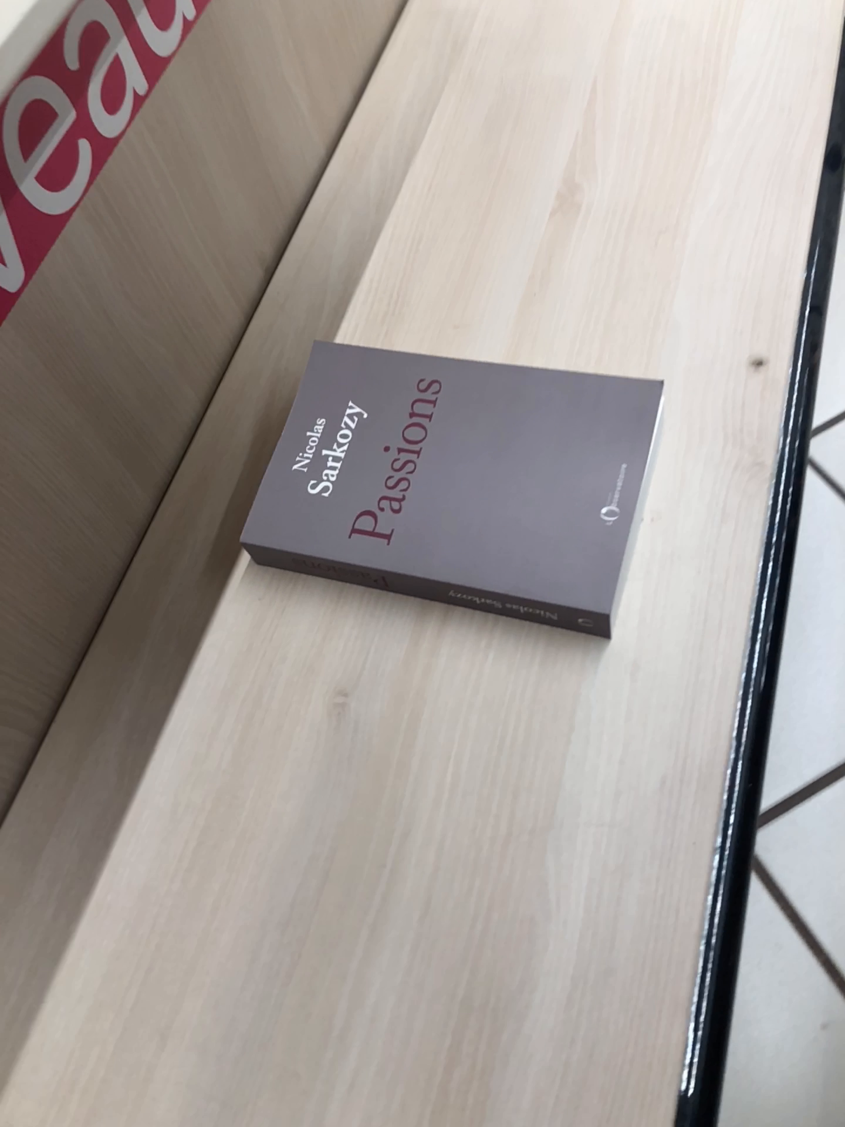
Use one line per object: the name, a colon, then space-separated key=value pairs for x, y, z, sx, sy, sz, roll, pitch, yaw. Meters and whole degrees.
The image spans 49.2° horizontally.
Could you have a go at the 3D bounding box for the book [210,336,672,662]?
book: x=0.015 y=-0.046 z=0.530 sx=0.224 sy=0.044 sz=0.157 roll=10 pitch=63 yaw=17
